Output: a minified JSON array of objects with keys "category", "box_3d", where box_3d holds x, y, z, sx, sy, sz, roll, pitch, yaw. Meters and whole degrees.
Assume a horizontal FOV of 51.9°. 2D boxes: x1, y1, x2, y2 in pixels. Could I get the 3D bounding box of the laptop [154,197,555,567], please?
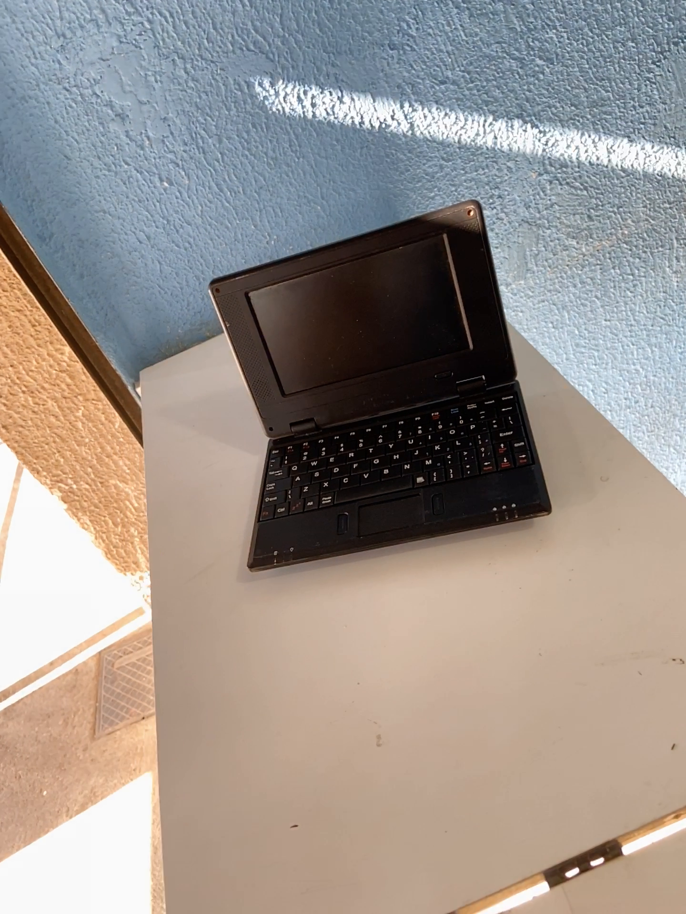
[{"category":"laptop","box_3d":[0.014,-0.053,0.502,0.216,0.137,0.180,-13,41,14]}]
